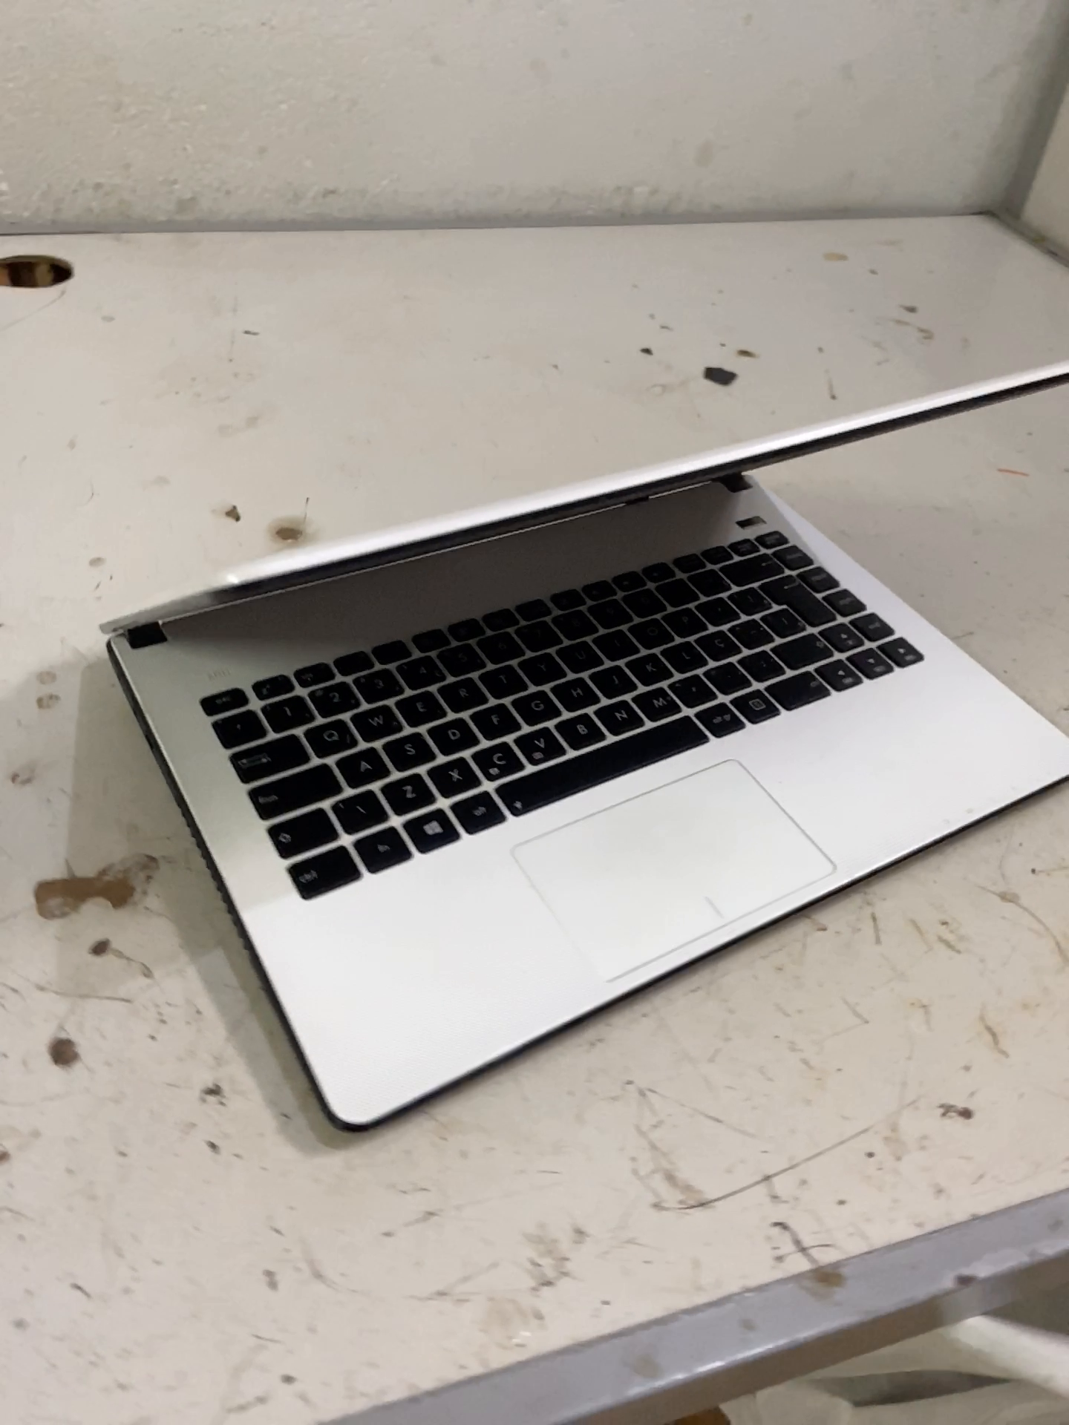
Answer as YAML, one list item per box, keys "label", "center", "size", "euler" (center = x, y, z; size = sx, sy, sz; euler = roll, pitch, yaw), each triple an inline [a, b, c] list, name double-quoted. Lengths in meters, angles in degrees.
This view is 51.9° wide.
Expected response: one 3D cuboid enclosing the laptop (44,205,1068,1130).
- label: "laptop"
  center: [0.038, -0.059, 0.414]
  size: [0.344, 0.141, 0.237]
  euler: [-19, 49, -26]
